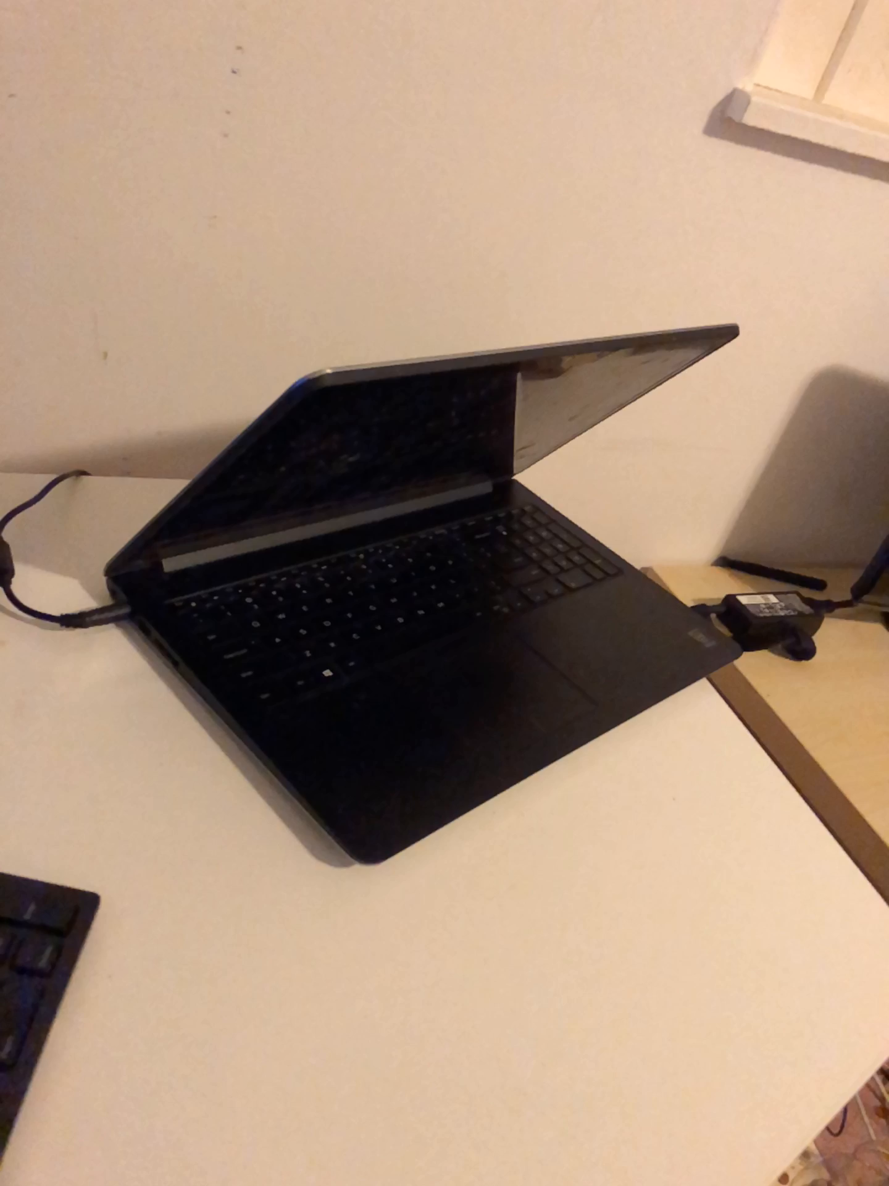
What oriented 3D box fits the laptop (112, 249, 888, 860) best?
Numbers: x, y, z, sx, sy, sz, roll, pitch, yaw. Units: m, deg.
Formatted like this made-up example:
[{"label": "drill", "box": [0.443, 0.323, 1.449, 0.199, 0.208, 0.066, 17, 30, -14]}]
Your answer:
[{"label": "laptop", "box": [0.037, -0.064, 0.614, 0.374, 0.207, 0.251, -19, 49, -41]}]
